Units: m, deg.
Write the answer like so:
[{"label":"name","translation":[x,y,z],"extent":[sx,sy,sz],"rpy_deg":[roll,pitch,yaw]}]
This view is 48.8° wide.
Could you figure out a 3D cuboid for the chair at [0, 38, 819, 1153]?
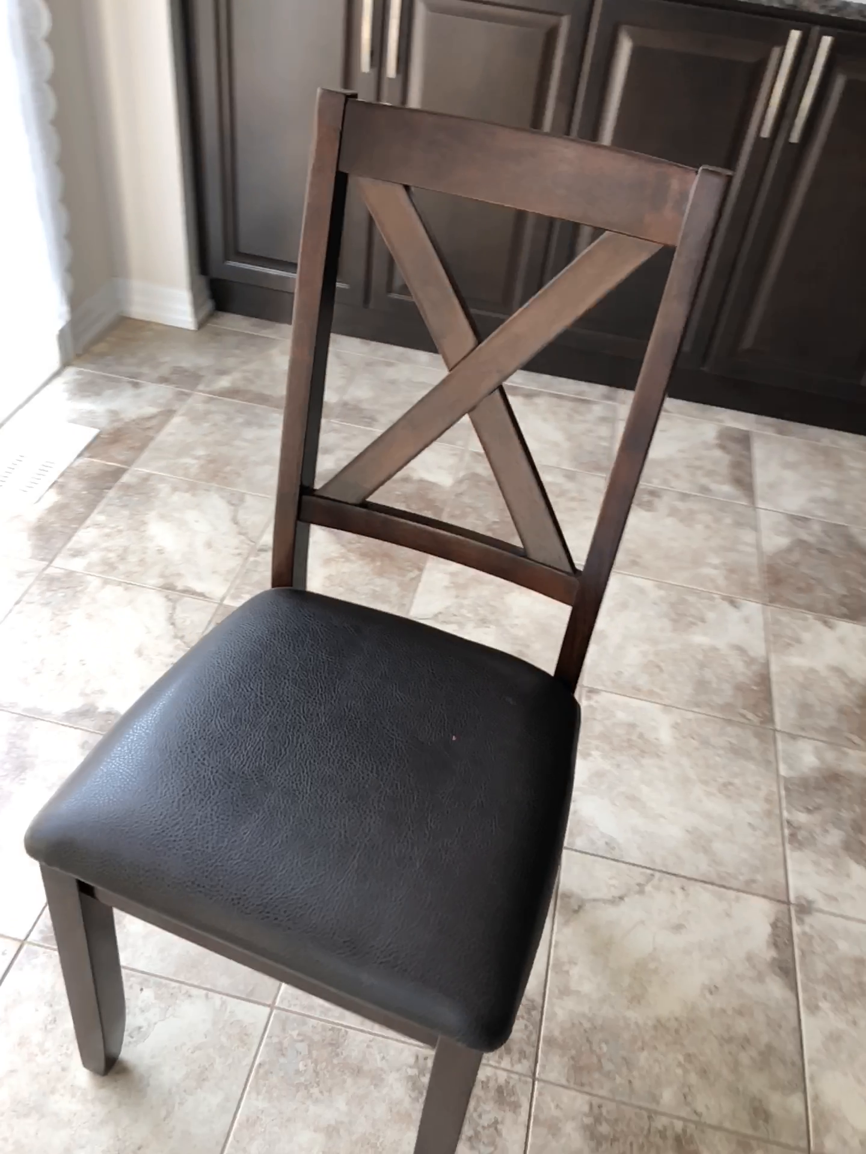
[{"label":"chair","translation":[-0.046,0.086,0.944],"extent":[0.480,0.936,0.602],"rpy_deg":[18,41,12]}]
